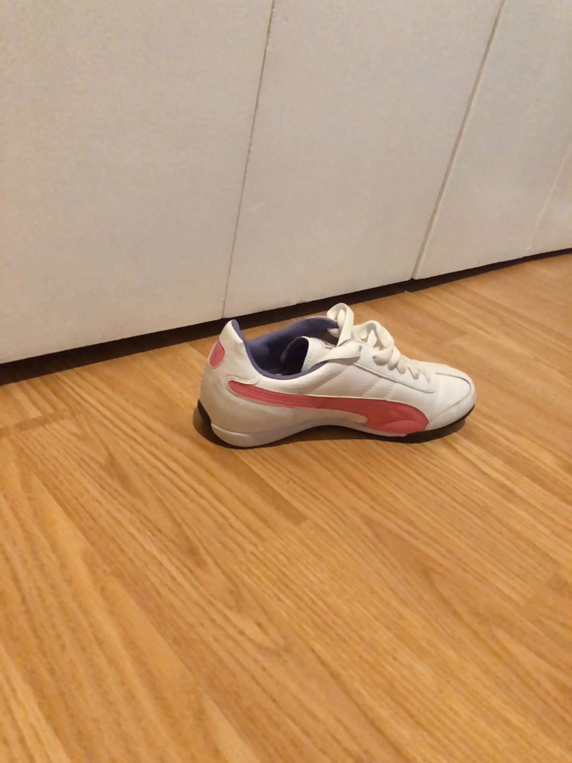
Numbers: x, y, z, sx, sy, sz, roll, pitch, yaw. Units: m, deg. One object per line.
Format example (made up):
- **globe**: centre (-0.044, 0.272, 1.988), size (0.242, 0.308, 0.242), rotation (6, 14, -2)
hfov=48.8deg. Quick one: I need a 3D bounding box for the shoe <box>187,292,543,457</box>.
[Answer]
- **shoe**: centre (0.063, -0.011, 0.514), size (0.260, 0.080, 0.100), rotation (-2, 33, -25)
